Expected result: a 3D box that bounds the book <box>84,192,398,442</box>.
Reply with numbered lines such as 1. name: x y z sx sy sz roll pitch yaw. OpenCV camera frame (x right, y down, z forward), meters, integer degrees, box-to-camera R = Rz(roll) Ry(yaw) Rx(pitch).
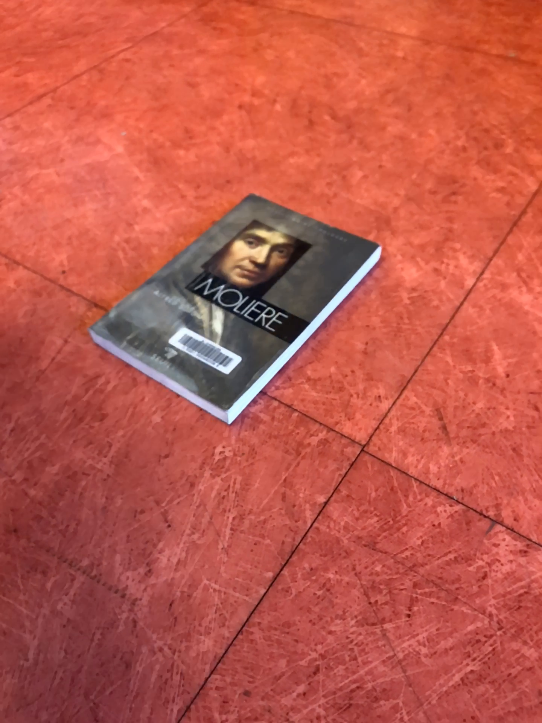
1. book: -0.016 -0.045 0.424 0.134 0.015 0.184 28 58 24
